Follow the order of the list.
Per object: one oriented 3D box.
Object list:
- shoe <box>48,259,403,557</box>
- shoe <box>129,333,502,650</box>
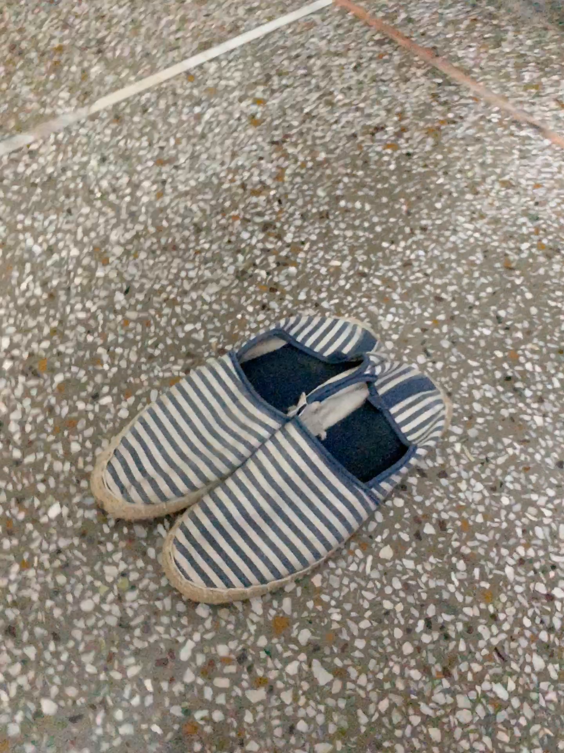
[{"bbox_3d":[-0.037,0.014,0.497,0.289,0.050,0.100,-36,69,-22],"label":"shoe"},{"bbox_3d":[0.034,0.080,0.470,0.289,0.050,0.100,-31,67,-20],"label":"shoe"}]
